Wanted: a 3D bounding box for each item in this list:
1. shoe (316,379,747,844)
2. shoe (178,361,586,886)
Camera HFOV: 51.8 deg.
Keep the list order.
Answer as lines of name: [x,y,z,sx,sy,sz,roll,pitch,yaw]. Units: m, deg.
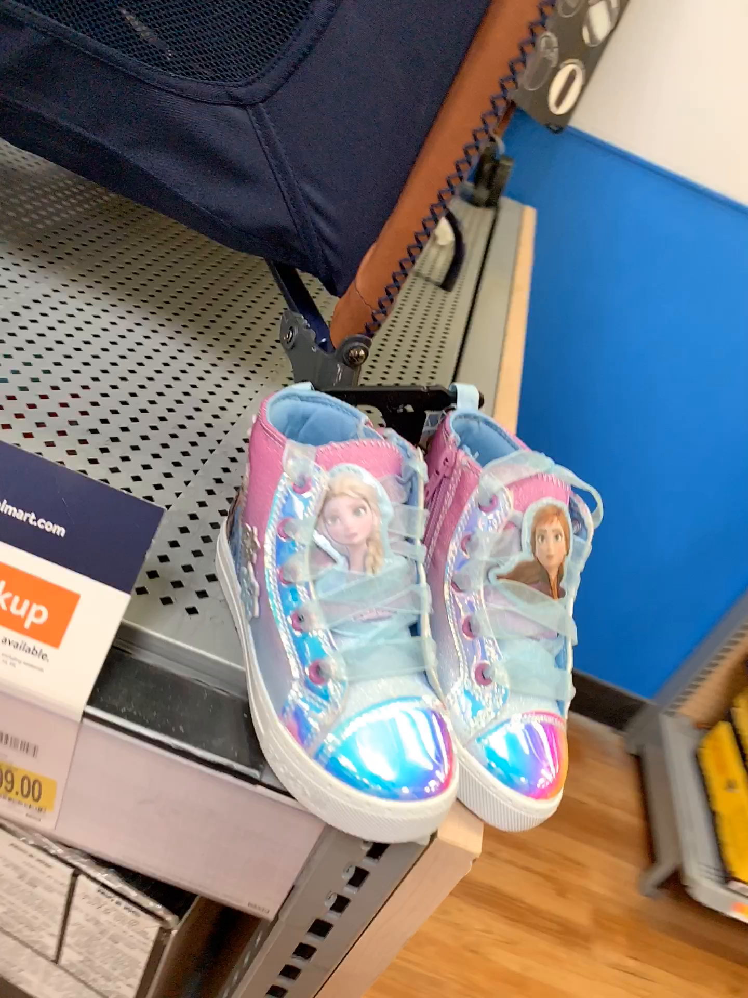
shoe: [0.059,0.044,0.367,0.089,0.102,0.183,8,37,-33]
shoe: [-0.015,0.039,0.325,0.079,0.102,0.183,2,40,-30]
